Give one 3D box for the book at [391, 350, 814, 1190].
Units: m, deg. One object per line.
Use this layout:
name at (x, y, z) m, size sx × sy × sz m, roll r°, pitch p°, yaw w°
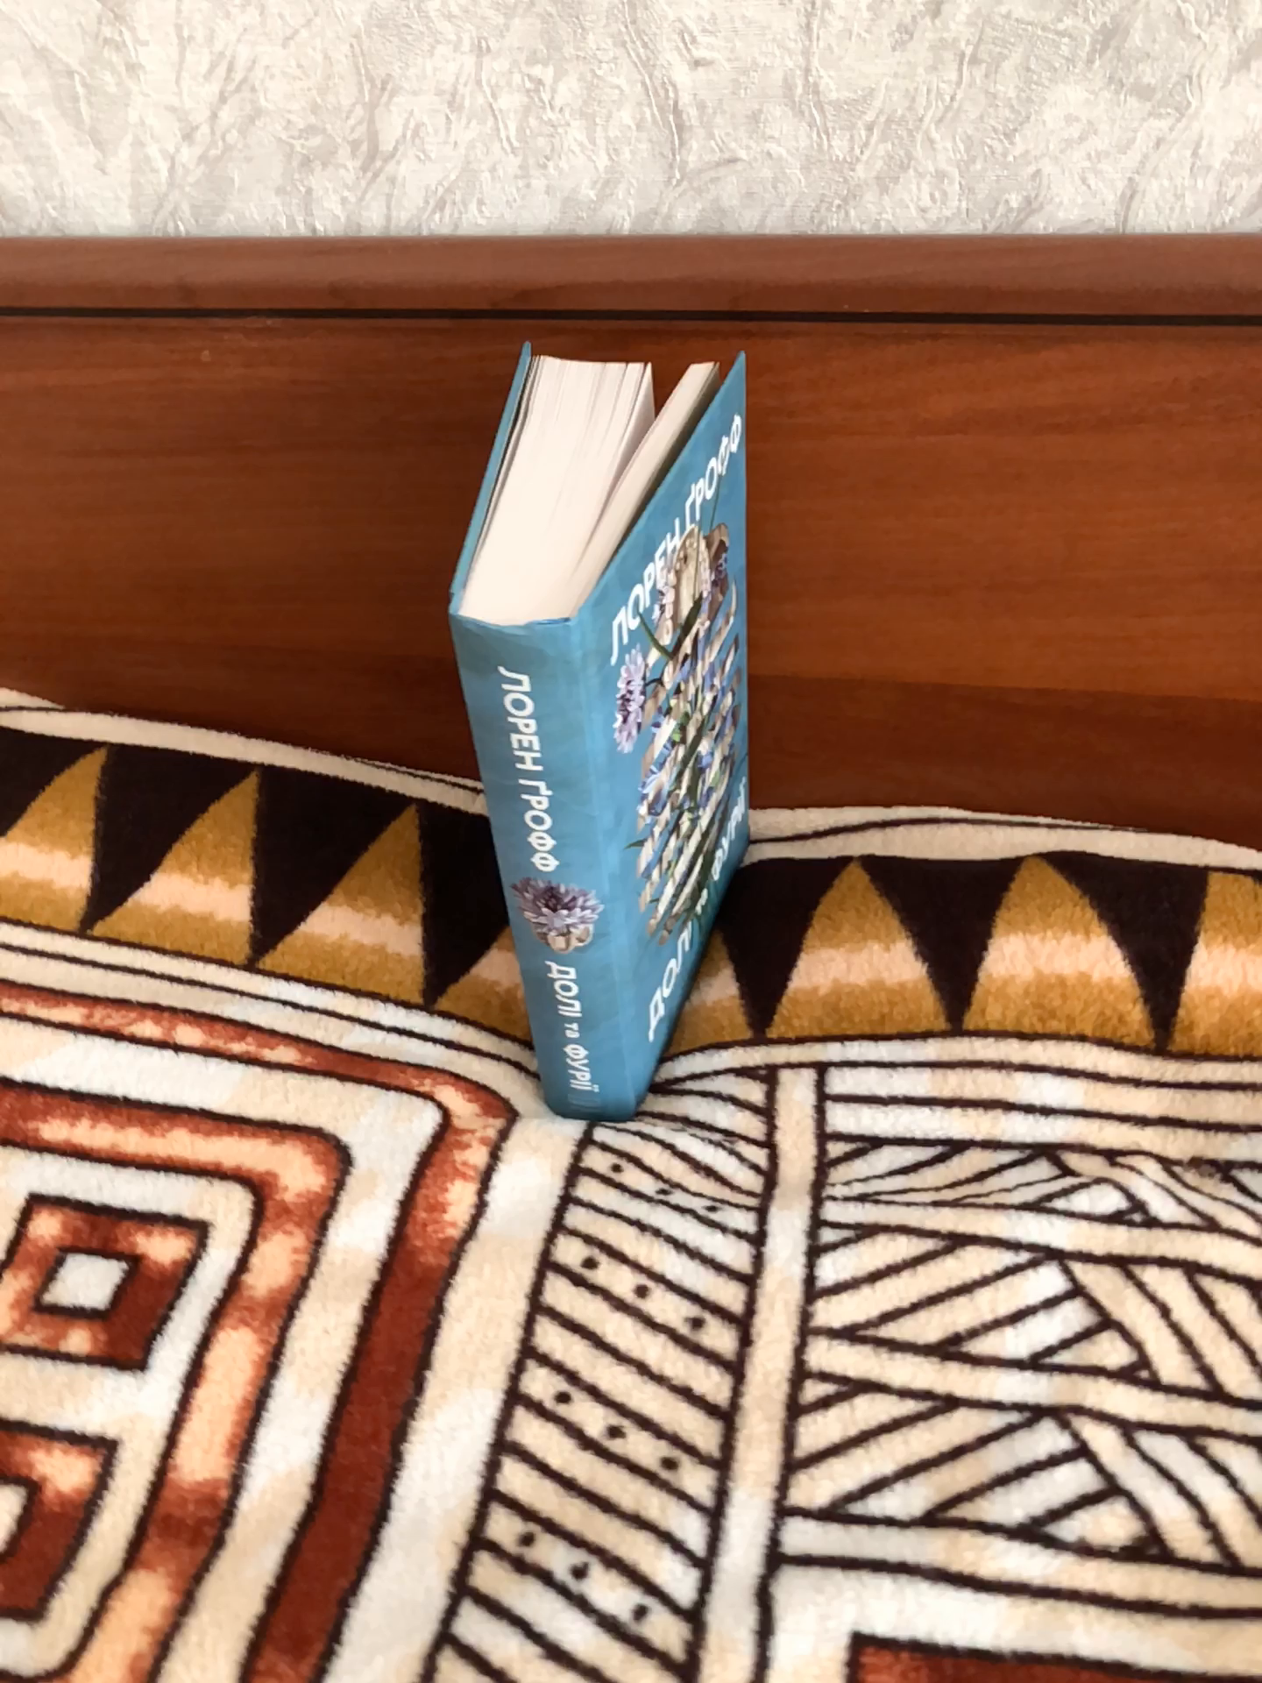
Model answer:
book at (0.004, -0.021, 0.435) m, size 0.078 × 0.199 × 0.161 m, roll 7°, pitch 45°, yaw 10°
